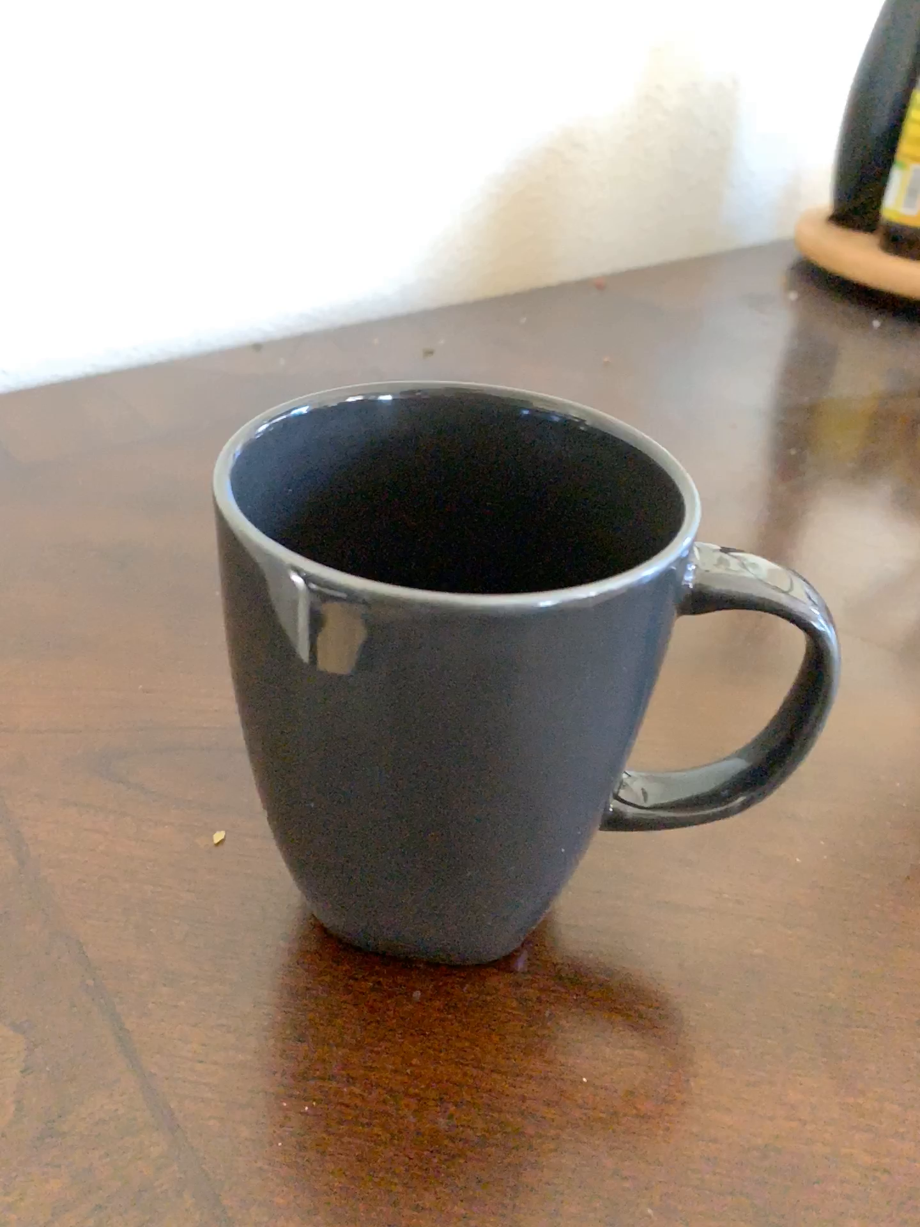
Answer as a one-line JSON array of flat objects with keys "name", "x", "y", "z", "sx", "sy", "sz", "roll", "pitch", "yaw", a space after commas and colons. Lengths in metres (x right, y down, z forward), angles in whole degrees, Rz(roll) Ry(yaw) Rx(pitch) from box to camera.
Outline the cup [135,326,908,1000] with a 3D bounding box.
[{"name": "cup", "x": 0.009, "y": 0.006, "z": 0.196, "sx": 0.107, "sy": 0.096, "sz": 0.089, "roll": 4, "pitch": 35, "yaw": 2}]
